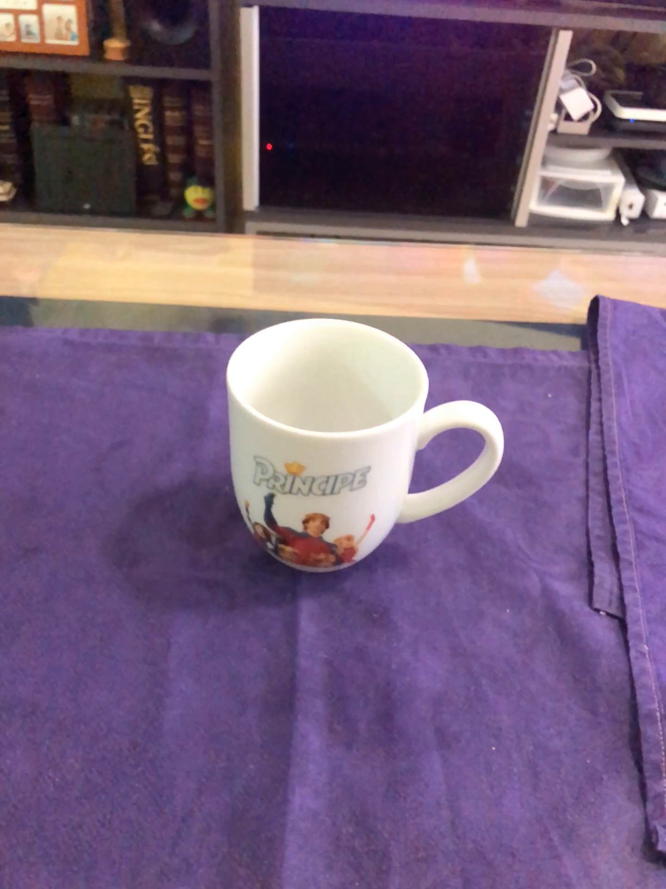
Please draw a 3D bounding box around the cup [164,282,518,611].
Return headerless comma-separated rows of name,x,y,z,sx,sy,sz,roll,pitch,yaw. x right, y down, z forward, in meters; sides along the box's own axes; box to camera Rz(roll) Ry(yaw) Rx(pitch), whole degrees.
cup,0.005,-0.001,0.308,0.120,0.090,0.080,8,40,5
